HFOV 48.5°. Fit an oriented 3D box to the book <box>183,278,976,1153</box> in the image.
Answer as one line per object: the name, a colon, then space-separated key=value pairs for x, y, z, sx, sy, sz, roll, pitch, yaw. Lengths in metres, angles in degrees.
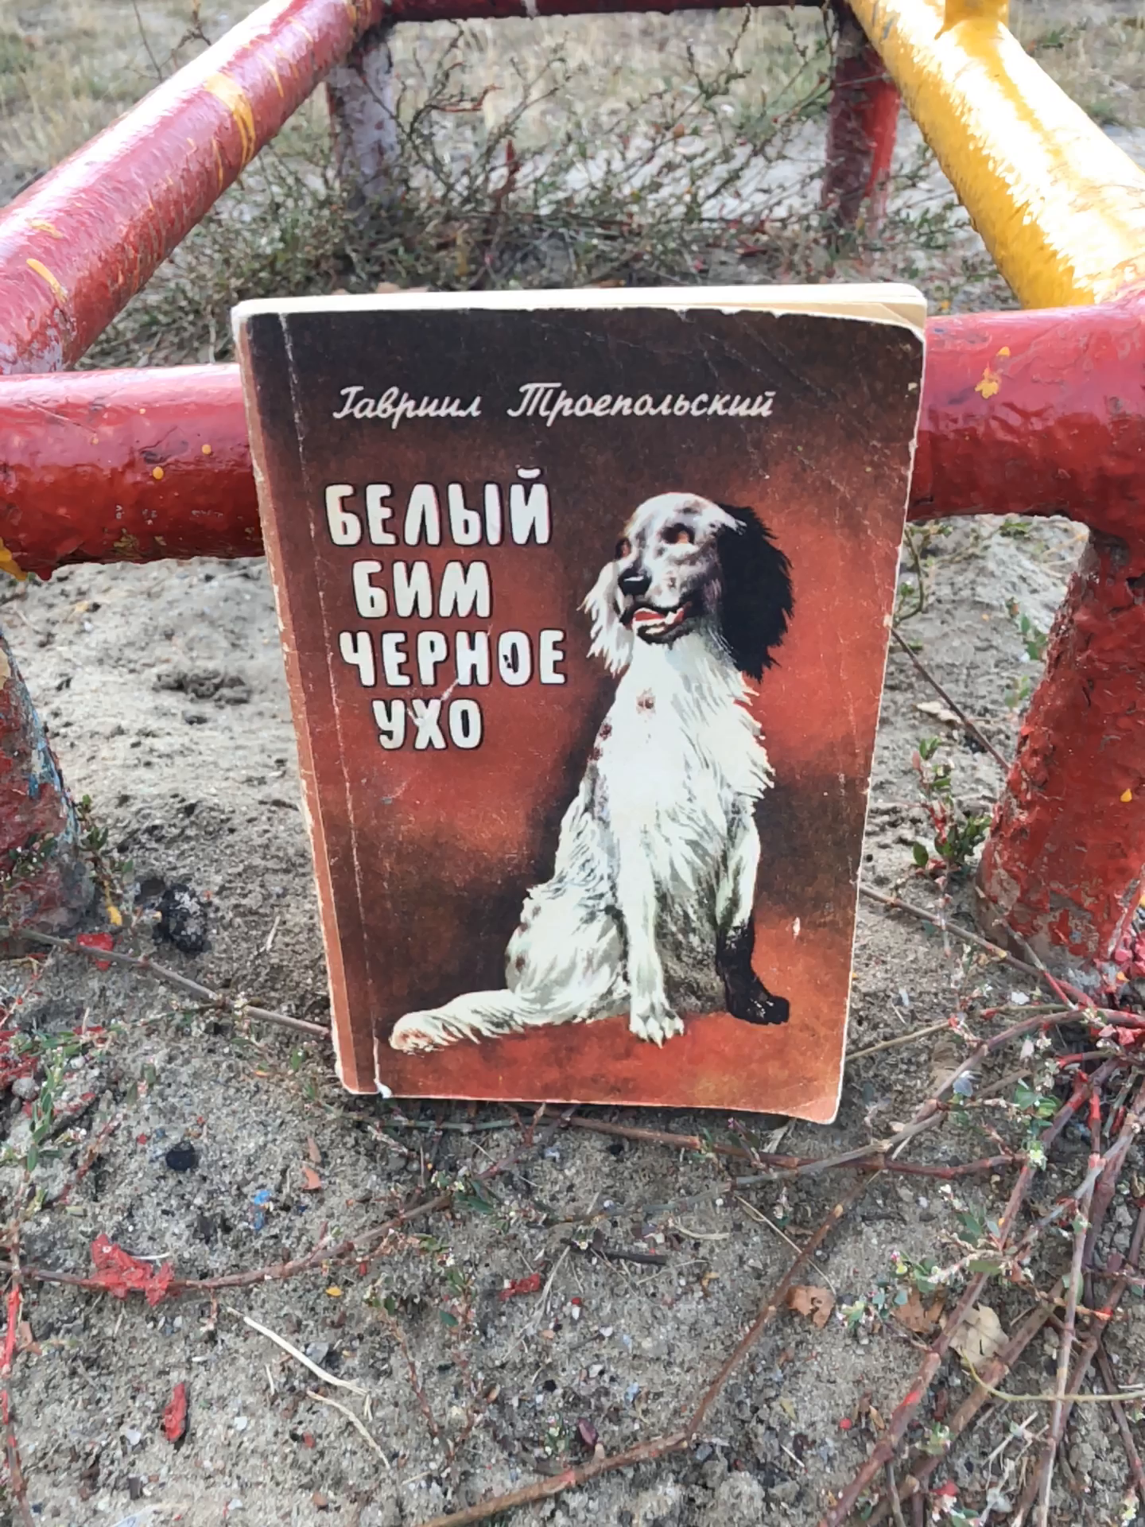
book: x=0.004 y=0.003 z=0.273 sx=0.130 sy=0.196 sz=0.030 roll=1 pitch=33 yaw=5
